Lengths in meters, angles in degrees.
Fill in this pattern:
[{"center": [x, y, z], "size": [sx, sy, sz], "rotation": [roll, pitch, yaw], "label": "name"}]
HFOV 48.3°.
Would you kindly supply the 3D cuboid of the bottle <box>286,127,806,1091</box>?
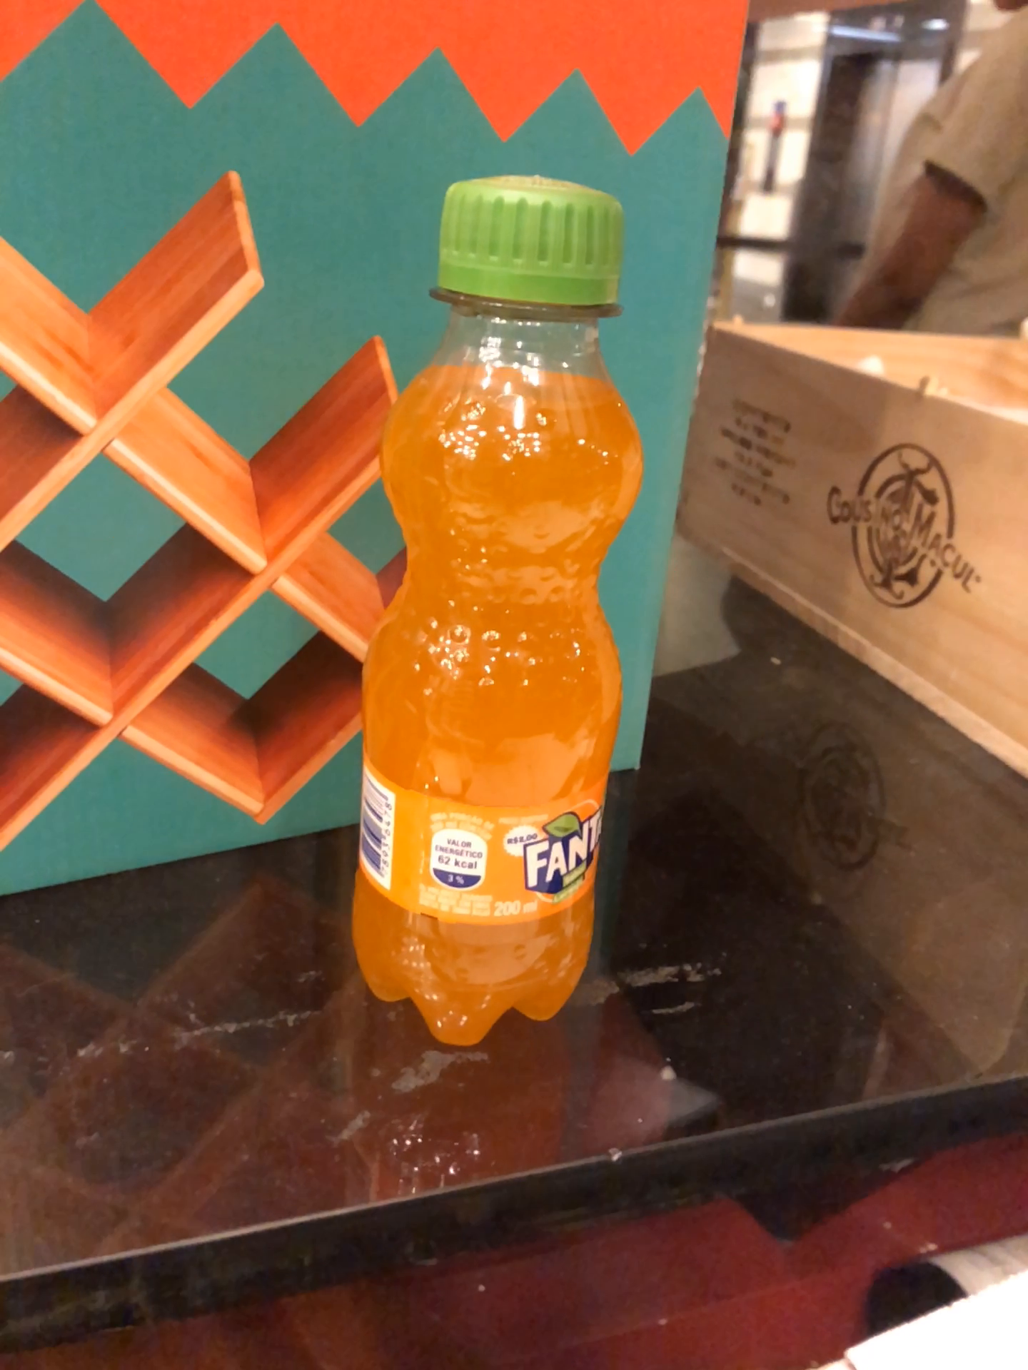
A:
[{"center": [-0.001, -0.015, 0.218], "size": [0.060, 0.159, 0.060], "rotation": [4, 24, -2], "label": "bottle"}]
